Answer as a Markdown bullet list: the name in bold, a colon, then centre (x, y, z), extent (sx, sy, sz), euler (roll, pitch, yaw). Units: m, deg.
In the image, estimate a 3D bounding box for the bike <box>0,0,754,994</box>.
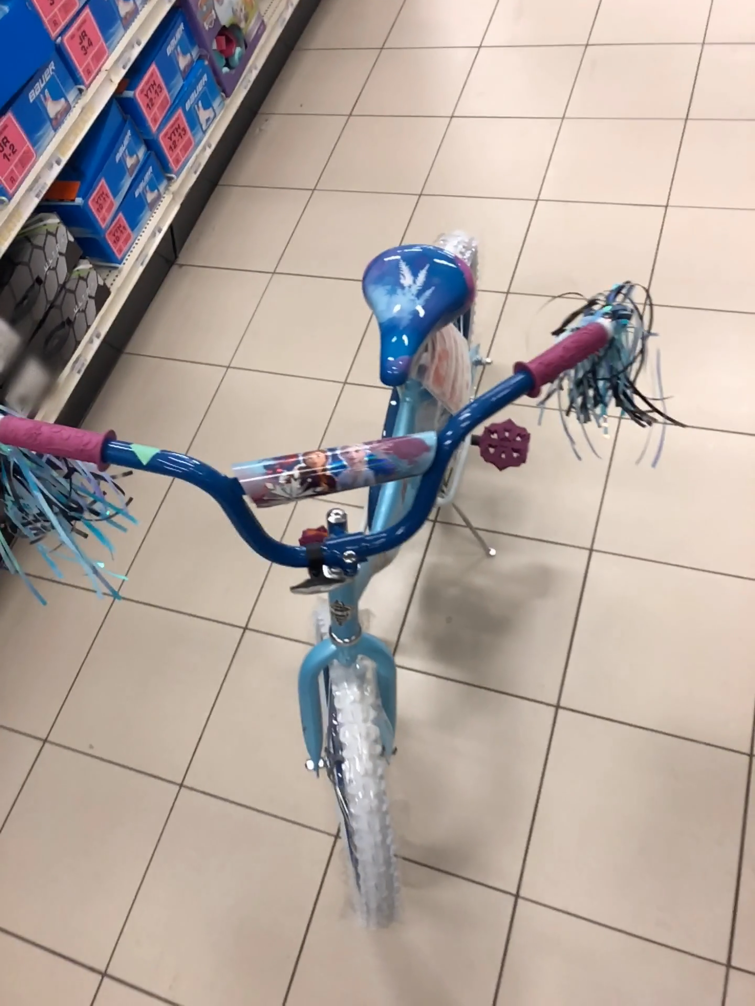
- **bike**: centre (0.068, -0.054, 1.144), extent (0.640, 0.954, 1.178), euler (1, 58, 15)
